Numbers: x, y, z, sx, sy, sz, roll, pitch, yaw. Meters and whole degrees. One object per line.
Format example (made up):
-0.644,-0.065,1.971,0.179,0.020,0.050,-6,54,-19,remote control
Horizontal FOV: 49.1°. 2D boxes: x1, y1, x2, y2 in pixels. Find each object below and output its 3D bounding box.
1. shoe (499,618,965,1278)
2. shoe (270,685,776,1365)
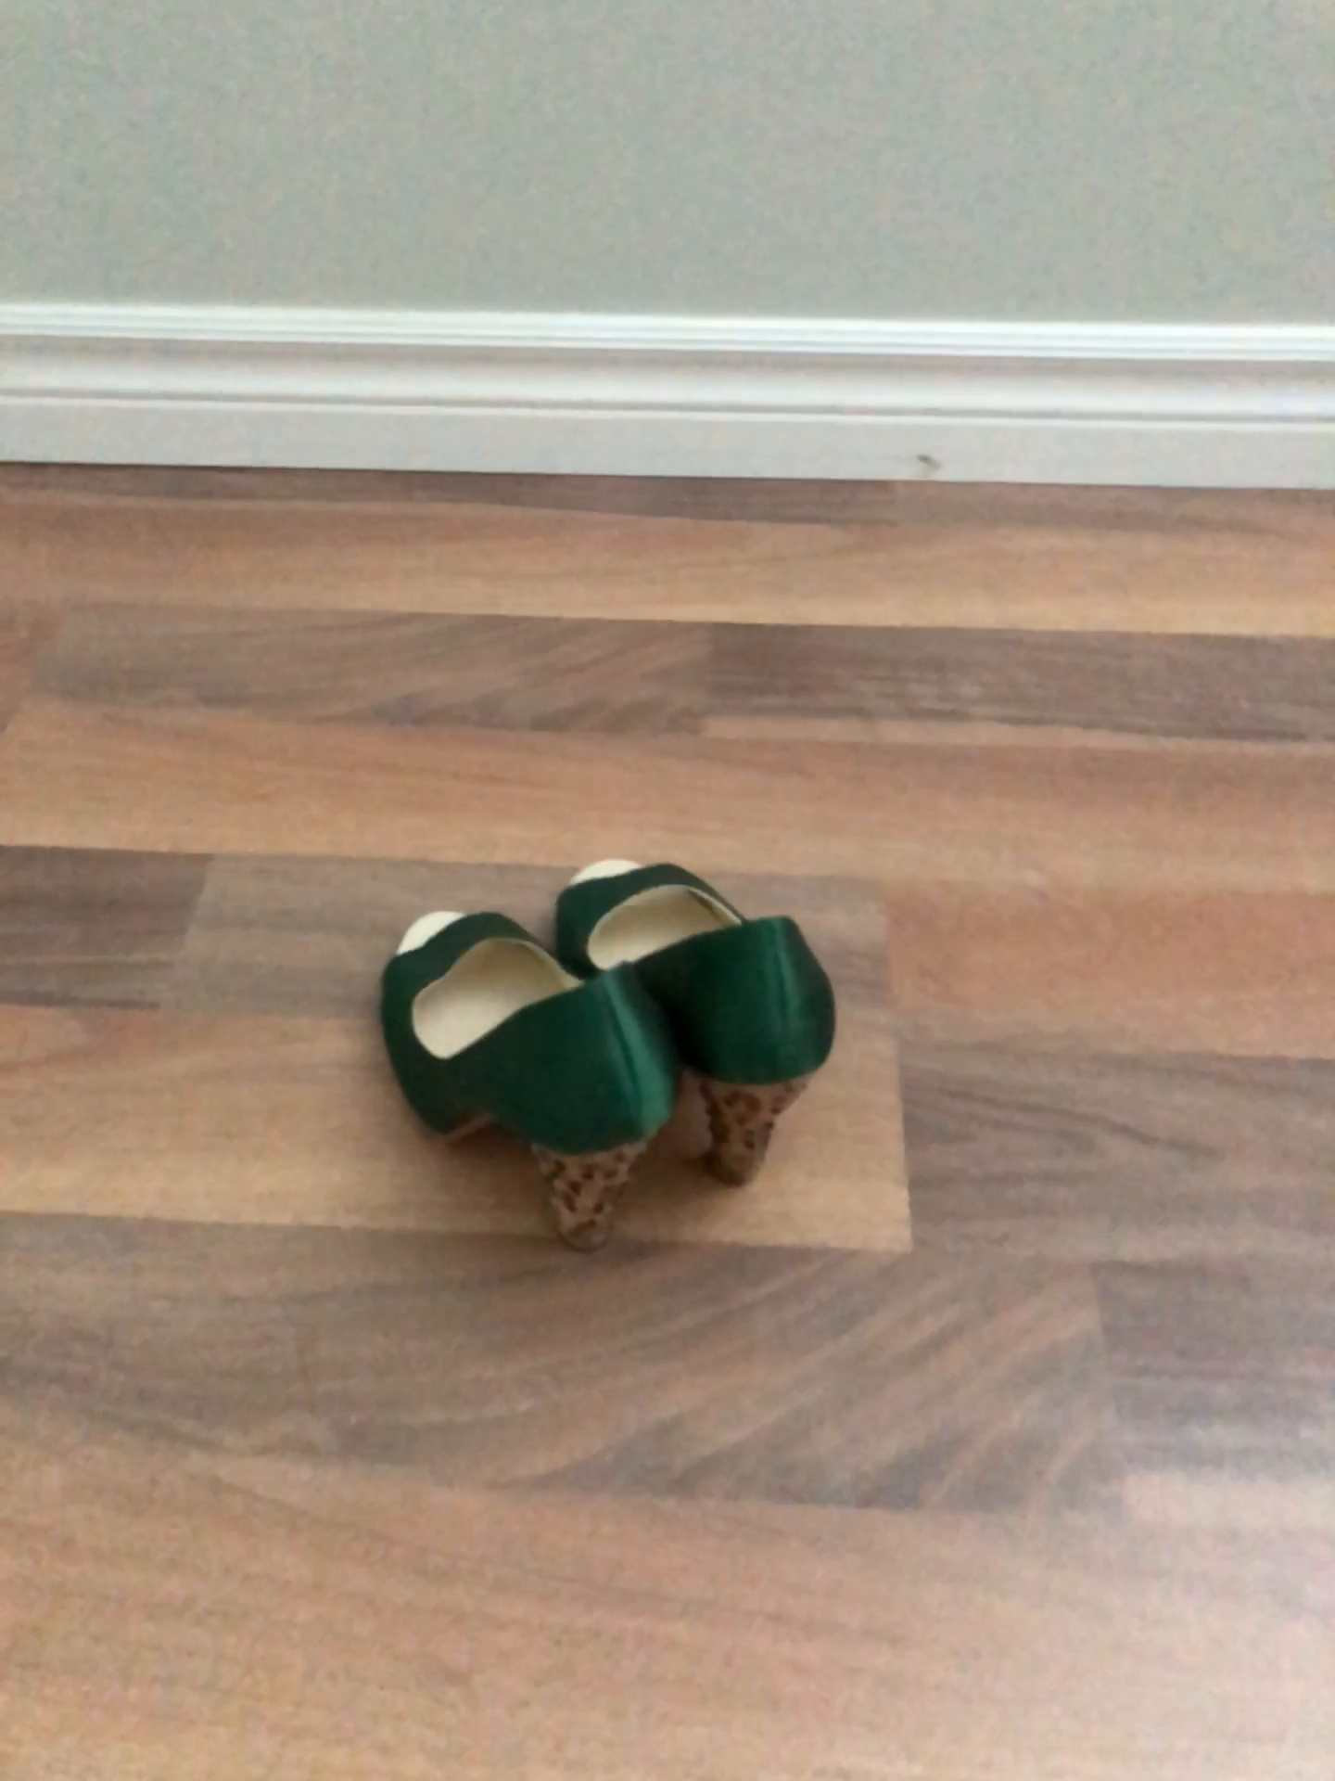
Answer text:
0.015,0.016,0.573,0.090,0.130,0.211,-17,49,-15,shoe
-0.058,0.044,0.558,0.090,0.130,0.211,-24,51,-21,shoe
